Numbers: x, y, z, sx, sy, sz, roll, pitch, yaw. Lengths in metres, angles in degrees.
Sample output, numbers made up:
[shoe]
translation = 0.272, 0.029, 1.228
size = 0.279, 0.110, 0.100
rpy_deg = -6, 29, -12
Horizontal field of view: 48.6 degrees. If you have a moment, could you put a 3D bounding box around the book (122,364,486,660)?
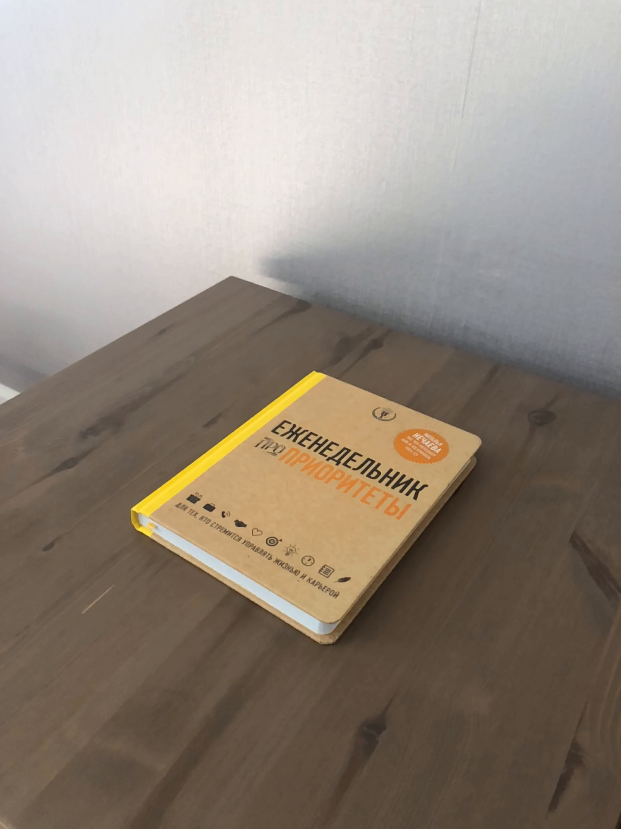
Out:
[book]
translation = 0.004, 0.053, 0.538
size = 0.180, 0.032, 0.230
rpy_deg = 24, 42, 26
